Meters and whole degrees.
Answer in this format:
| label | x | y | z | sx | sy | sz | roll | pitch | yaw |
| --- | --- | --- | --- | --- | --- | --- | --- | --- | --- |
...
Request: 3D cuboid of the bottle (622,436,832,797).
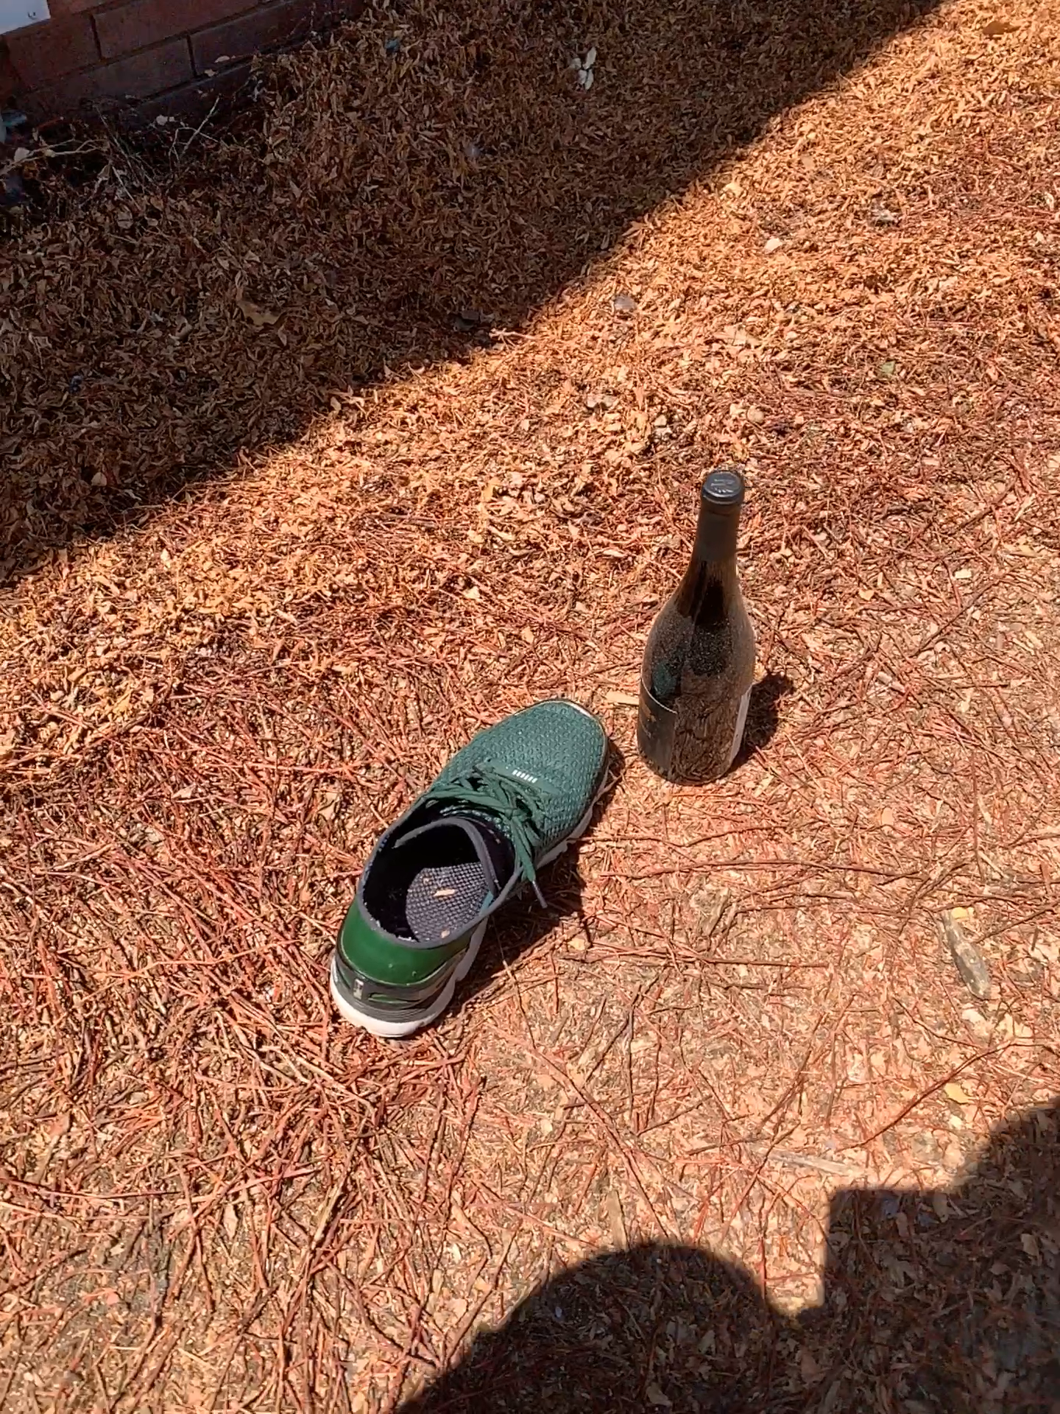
| label | x | y | z | sx | sy | sz | roll | pitch | yaw |
| --- | --- | --- | --- | --- | --- | --- | --- | --- | --- |
| bottle | 0.132 | -0.055 | 0.793 | 0.090 | 0.269 | 0.101 | -2 | 50 | -4 |
